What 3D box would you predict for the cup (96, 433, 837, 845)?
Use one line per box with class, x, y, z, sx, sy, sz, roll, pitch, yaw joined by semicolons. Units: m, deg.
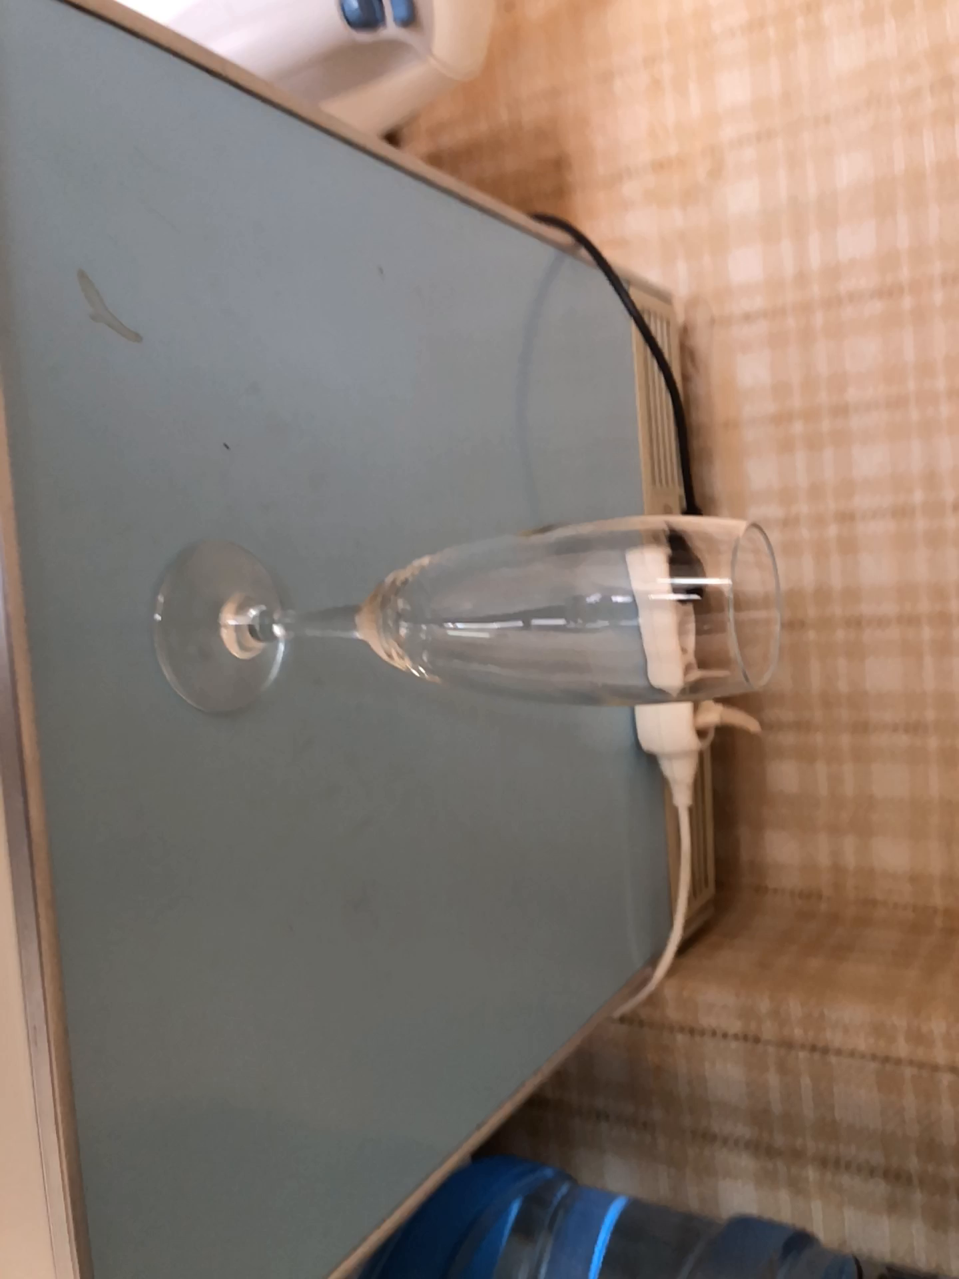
cup;-0.005;-0.002;0.330;0.091;0.199;0.090;8;81;-59
